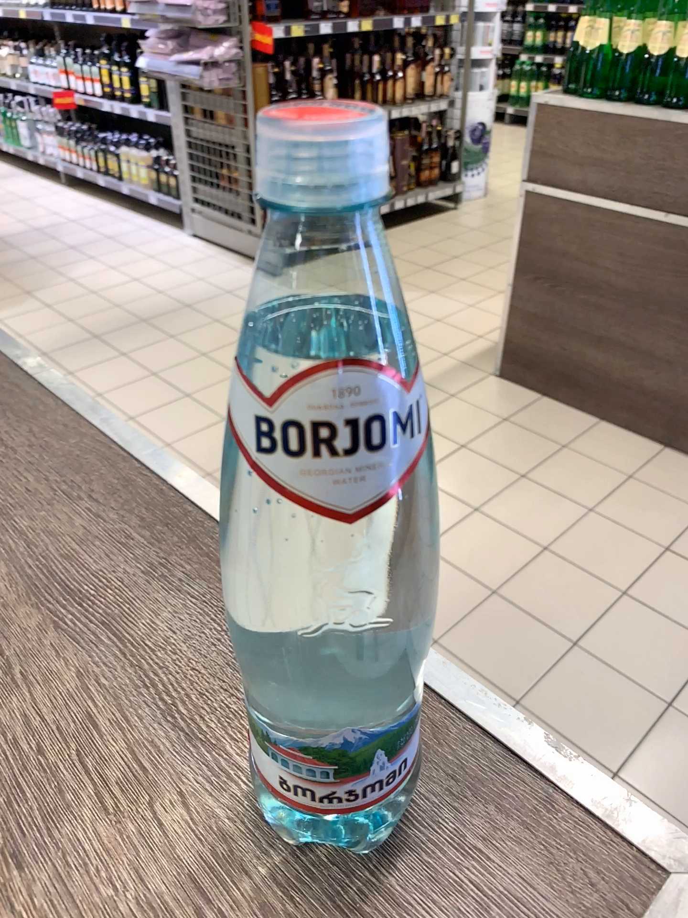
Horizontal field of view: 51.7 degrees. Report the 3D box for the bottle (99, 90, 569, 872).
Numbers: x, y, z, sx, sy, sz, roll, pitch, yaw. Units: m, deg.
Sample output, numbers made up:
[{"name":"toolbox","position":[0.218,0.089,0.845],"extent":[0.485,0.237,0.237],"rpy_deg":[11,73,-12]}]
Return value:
[{"name":"bottle","position":[-0.003,0.026,0.217],"extent":[0.080,0.239,0.070],"rpy_deg":[-3,34,-4]}]
